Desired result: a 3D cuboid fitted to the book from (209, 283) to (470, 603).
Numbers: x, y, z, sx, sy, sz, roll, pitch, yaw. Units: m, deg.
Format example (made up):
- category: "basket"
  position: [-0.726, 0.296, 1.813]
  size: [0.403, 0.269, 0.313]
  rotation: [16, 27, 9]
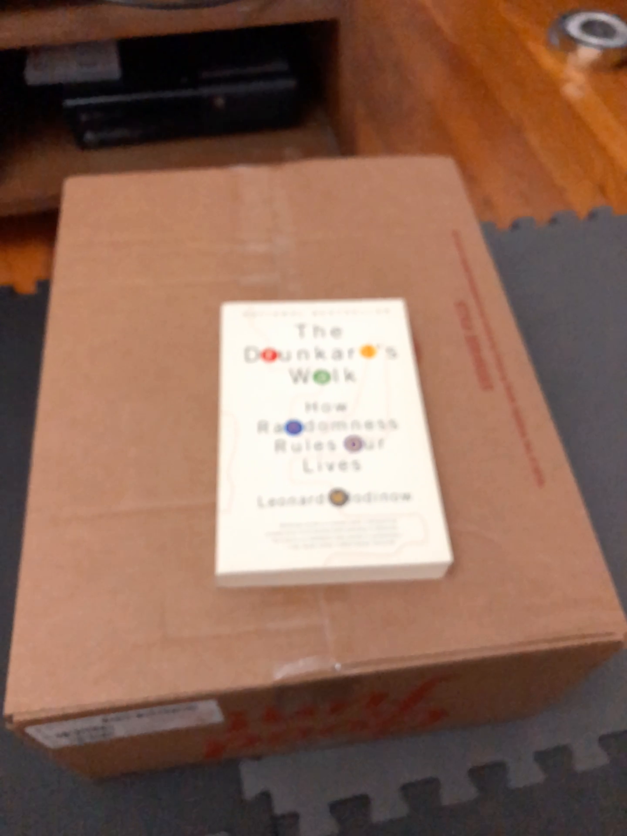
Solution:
- category: "book"
  position: [0.007, 0.005, 0.453]
  size: [0.140, 0.040, 0.211]
  rotation: [-3, 55, -3]
